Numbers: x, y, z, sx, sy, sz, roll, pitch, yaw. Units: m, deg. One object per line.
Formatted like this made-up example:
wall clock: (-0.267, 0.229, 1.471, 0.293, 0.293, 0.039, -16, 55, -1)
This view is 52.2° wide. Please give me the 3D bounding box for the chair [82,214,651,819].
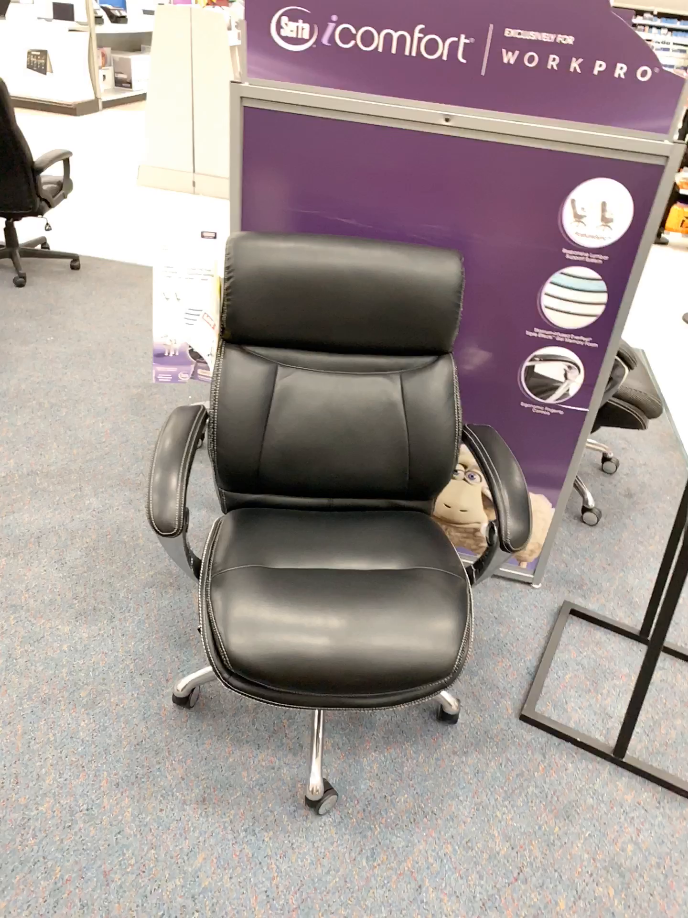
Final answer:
chair: (-0.018, 0.103, 1.485, 0.738, 0.946, 0.785, 4, 33, -5)
